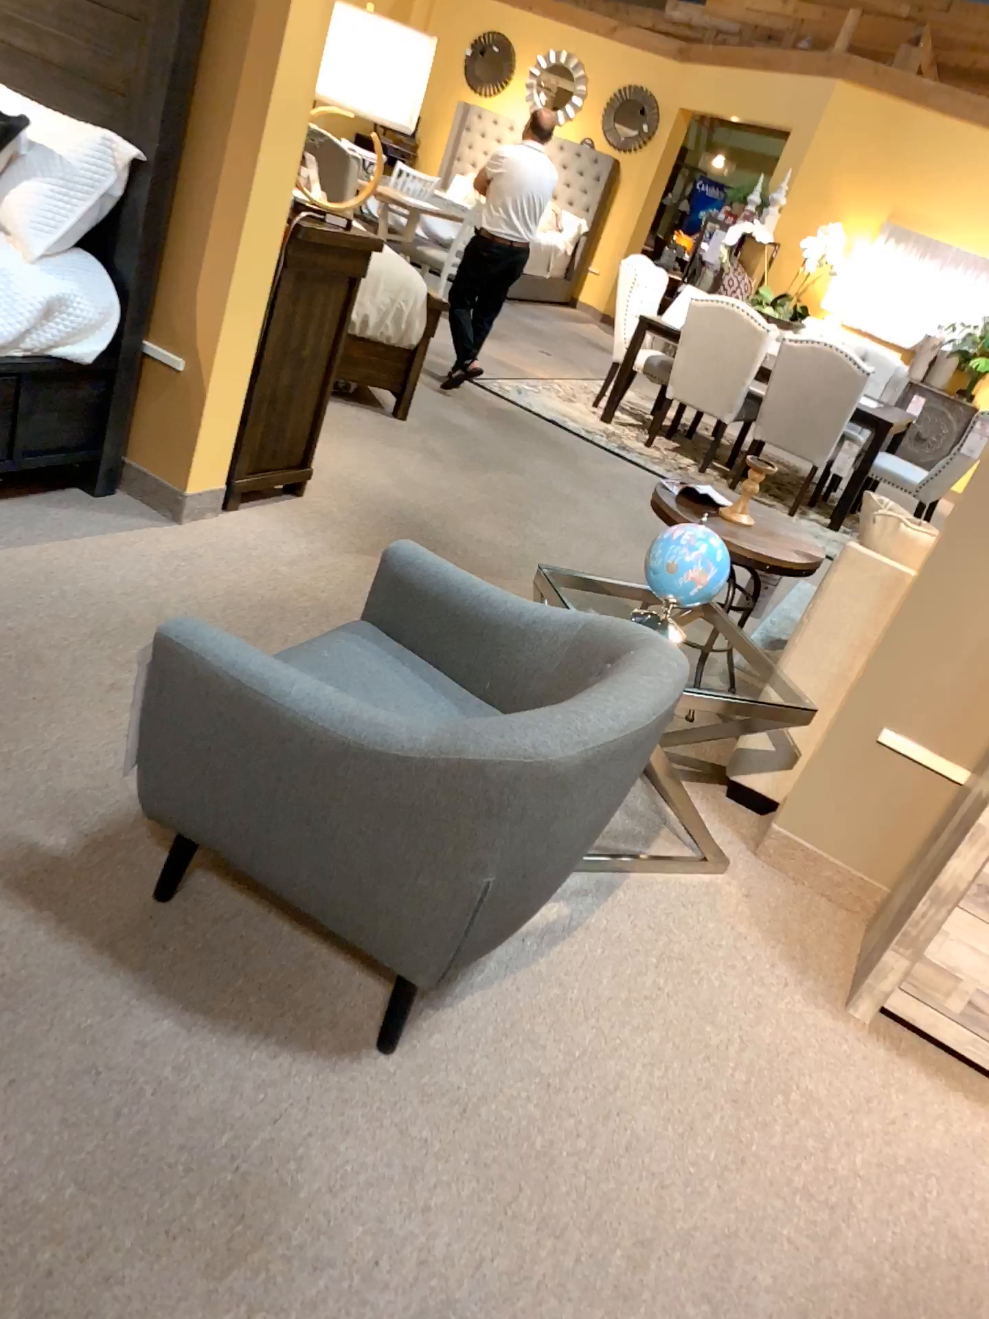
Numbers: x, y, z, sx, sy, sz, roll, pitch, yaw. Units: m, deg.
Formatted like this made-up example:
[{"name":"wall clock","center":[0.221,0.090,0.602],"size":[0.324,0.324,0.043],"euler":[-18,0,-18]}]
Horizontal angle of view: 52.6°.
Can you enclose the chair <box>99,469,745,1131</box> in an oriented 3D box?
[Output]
[{"name":"chair","center":[-0.114,0.167,1.846],"size":[0.742,0.702,0.750],"euler":[29,27,17]}]
